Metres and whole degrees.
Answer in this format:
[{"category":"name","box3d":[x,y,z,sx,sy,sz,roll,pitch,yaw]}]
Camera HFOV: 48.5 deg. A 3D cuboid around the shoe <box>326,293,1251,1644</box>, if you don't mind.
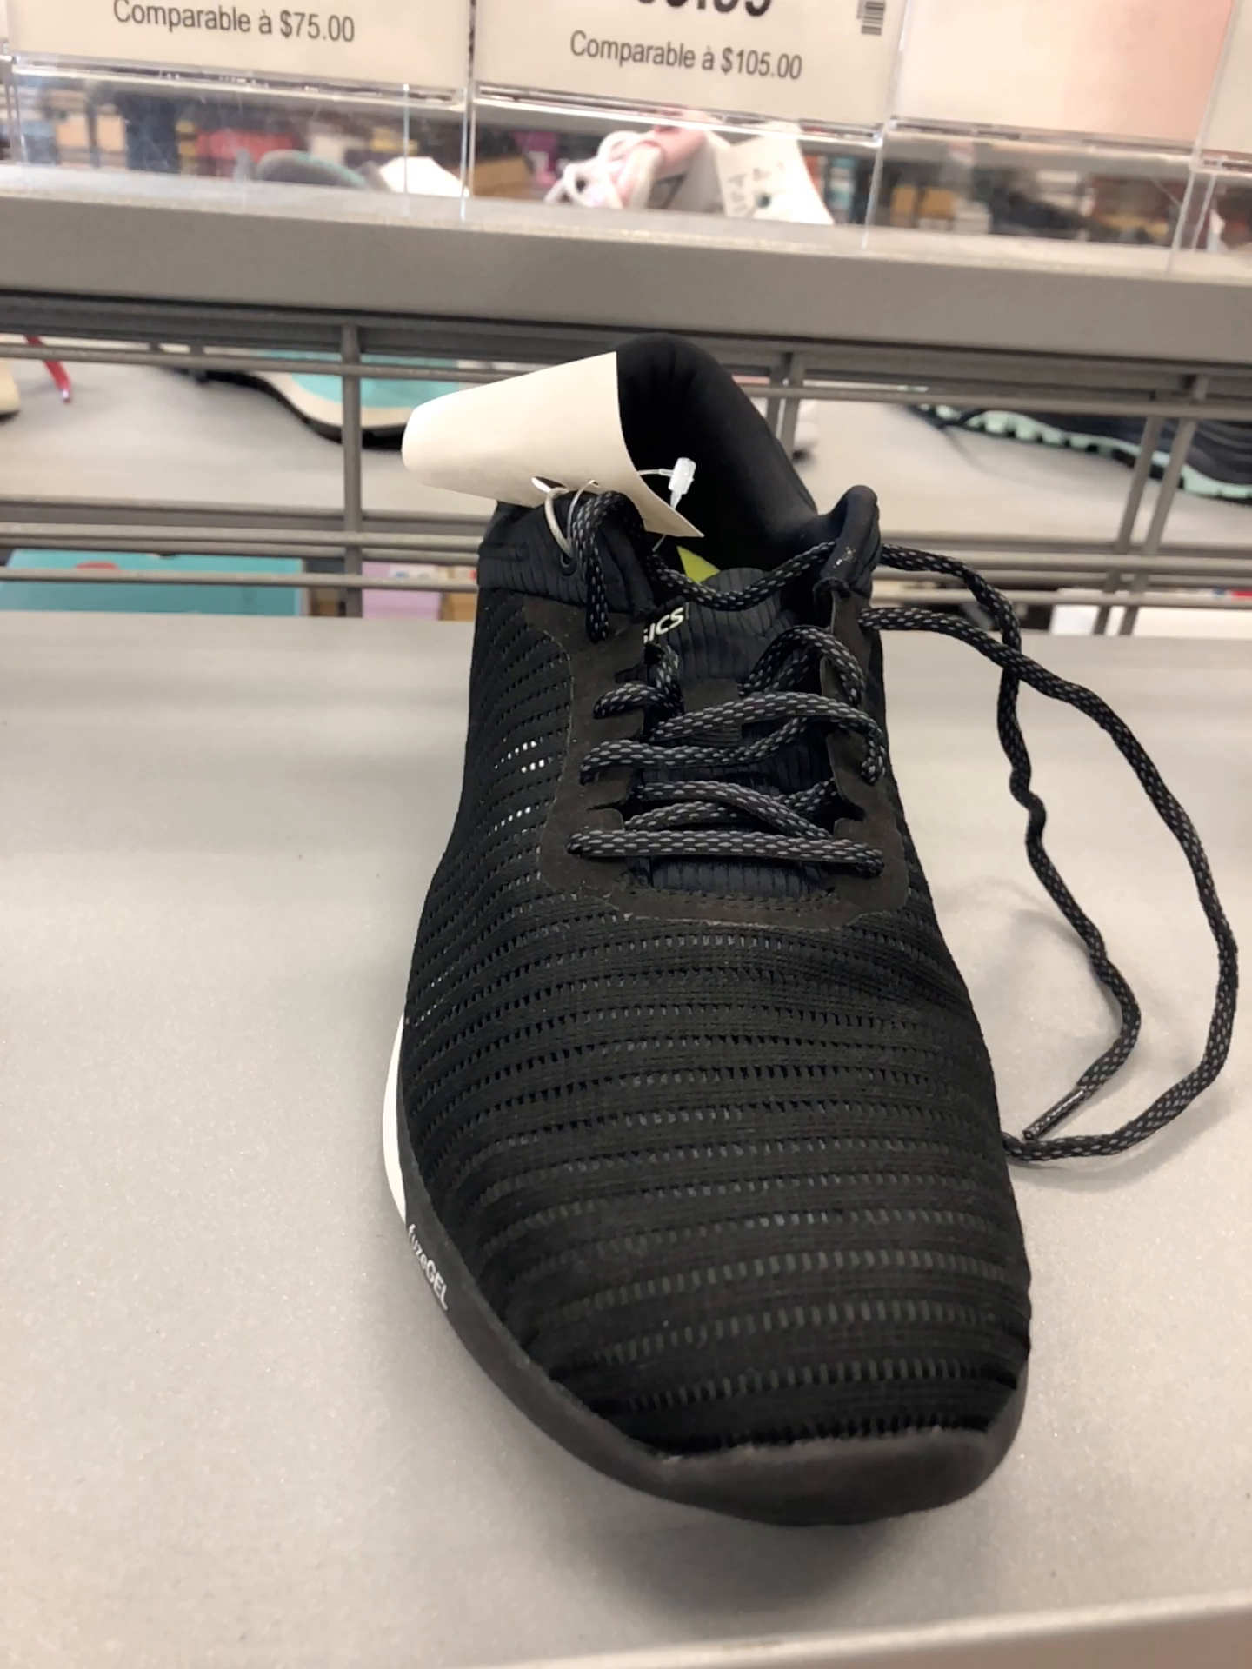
[{"category":"shoe","box3d":[0.003,-0.019,0.297,0.120,0.119,0.302,0,31,-10]}]
